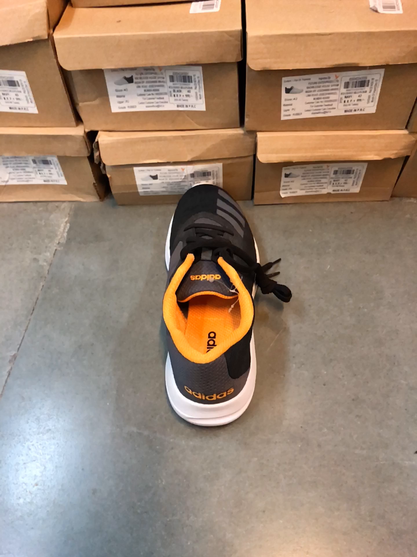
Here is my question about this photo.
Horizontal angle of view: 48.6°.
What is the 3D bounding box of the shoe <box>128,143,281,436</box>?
[{"bbox_3d":[0.001,0.000,0.457,0.110,0.117,0.272,0,54,2],"label":"shoe"}]
